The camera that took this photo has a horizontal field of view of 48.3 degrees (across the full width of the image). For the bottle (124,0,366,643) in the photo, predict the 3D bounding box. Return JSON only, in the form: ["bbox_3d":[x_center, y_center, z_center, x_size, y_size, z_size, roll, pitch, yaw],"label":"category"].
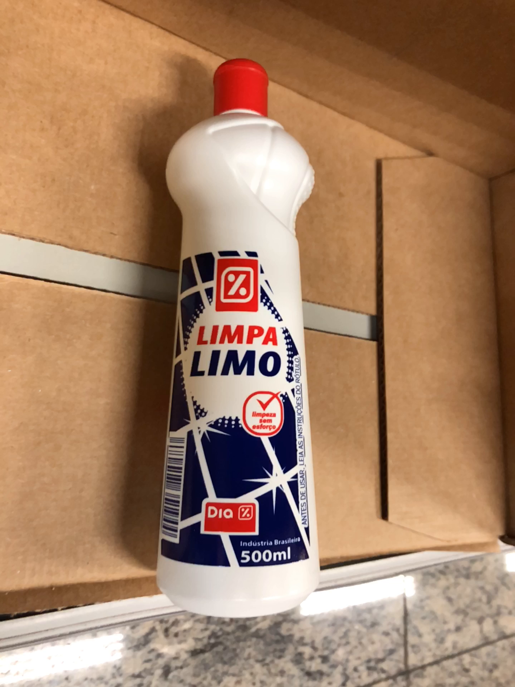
[{"bbox_3d":[-0.005,-0.025,0.251,0.080,0.060,0.260,4,82,-35],"label":"bottle"}]
